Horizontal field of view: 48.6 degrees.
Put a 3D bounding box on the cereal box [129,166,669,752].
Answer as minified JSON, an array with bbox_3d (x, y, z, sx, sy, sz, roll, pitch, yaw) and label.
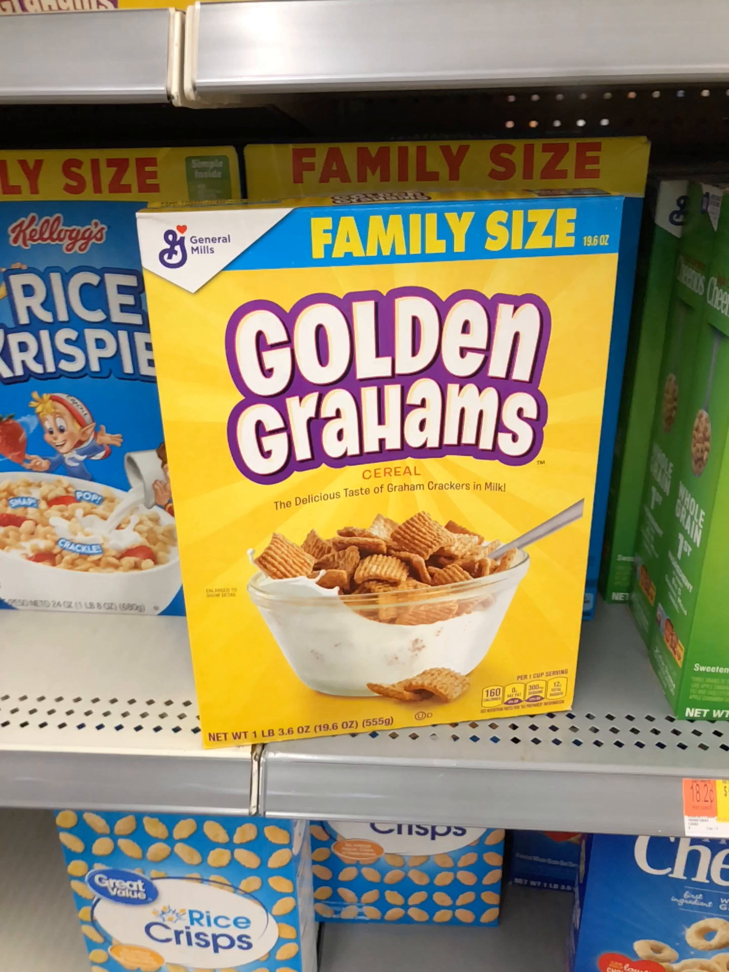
[{"bbox_3d":[0.017,-0.007,0.452,0.240,0.309,0.070,-4,26,-7],"label":"cereal box"}]
